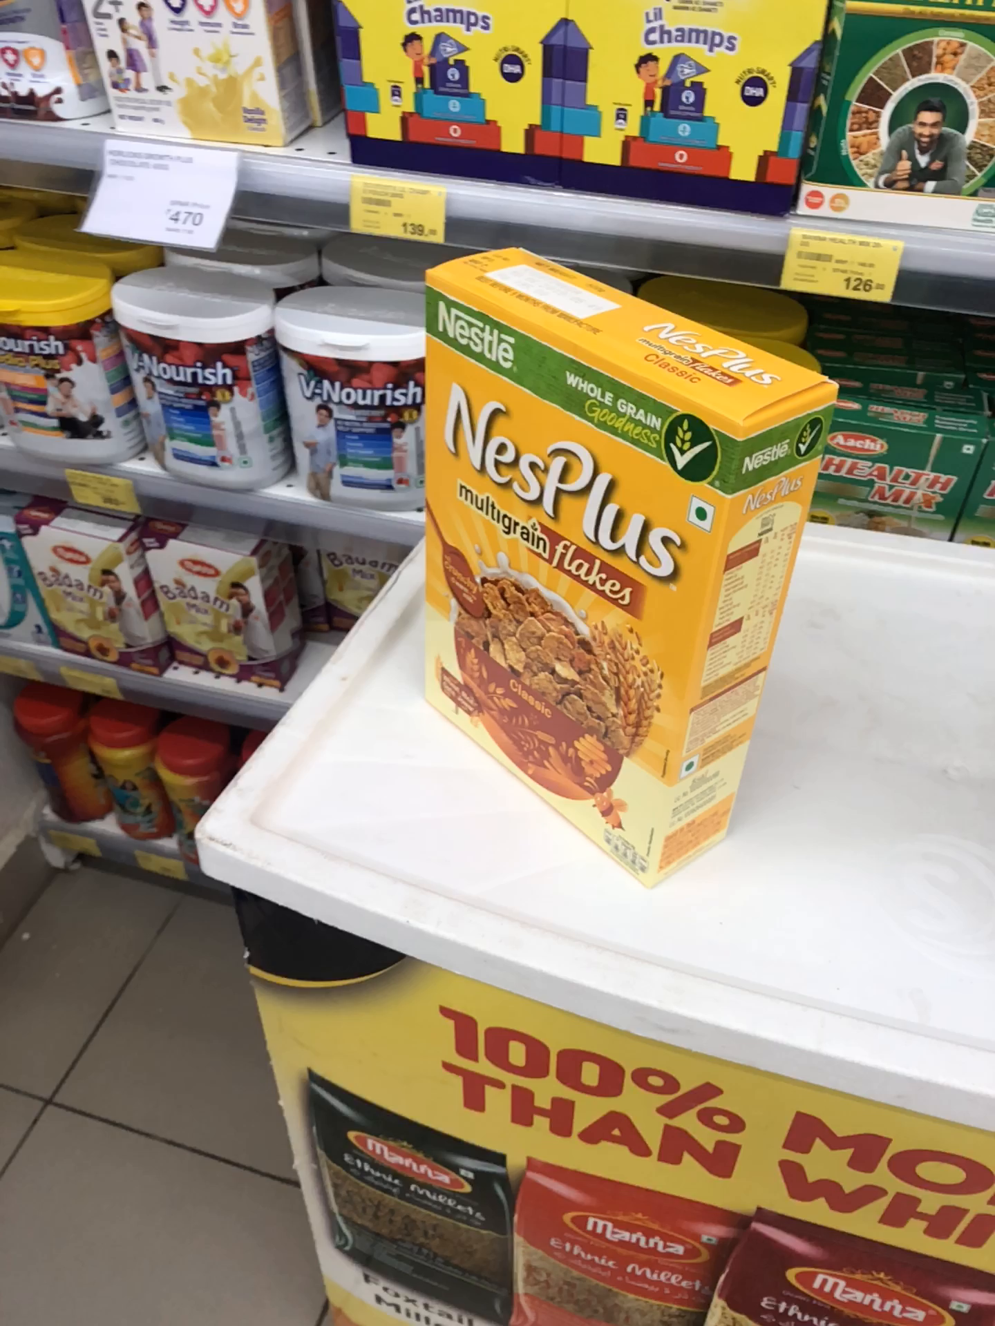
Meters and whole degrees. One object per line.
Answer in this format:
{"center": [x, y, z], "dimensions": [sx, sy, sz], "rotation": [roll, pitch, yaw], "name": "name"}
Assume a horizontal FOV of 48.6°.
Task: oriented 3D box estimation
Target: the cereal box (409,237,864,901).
{"center": [0.049, -0.044, 0.557], "dimensions": [0.070, 0.269, 0.200], "rotation": [-29, 48, -31], "name": "cereal box"}
